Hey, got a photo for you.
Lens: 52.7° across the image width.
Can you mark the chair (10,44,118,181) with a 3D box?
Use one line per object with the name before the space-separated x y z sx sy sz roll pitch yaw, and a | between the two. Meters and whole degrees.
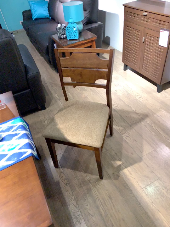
chair | -0.040 0.006 1.286 0.470 0.827 0.532 8 45 18
